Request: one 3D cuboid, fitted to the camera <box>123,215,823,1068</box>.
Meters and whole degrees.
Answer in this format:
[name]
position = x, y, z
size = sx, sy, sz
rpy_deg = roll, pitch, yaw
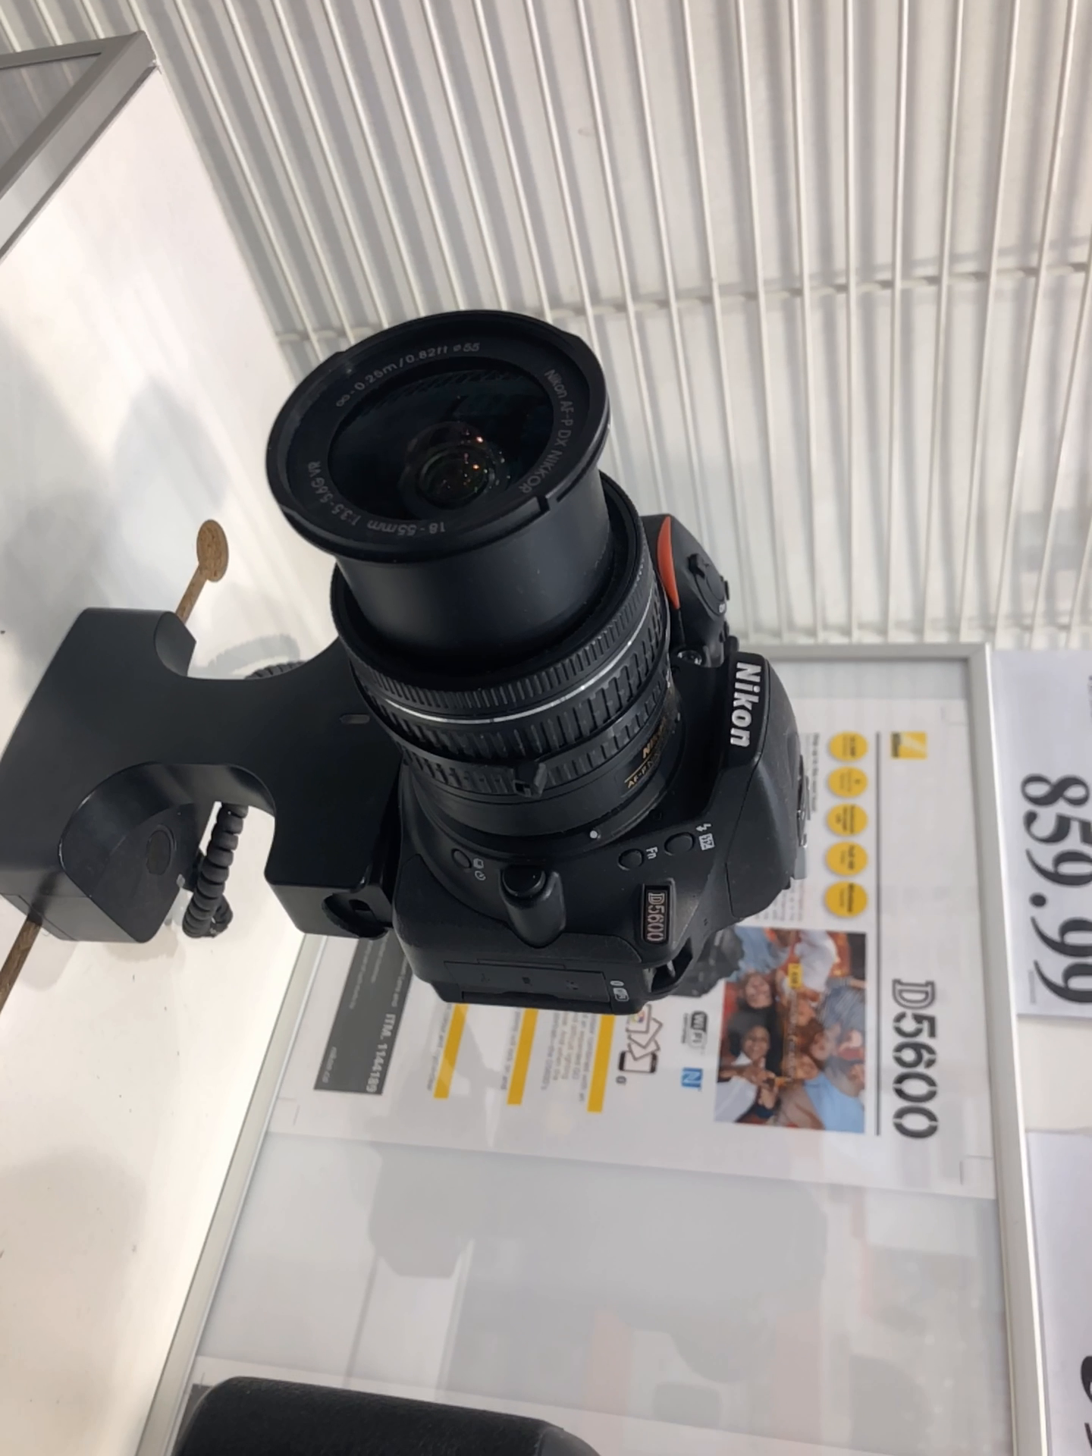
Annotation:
[camera]
position = 0.007, -0.008, 0.286
size = 0.160, 0.110, 0.120
rpy_deg = 70, 24, -55
